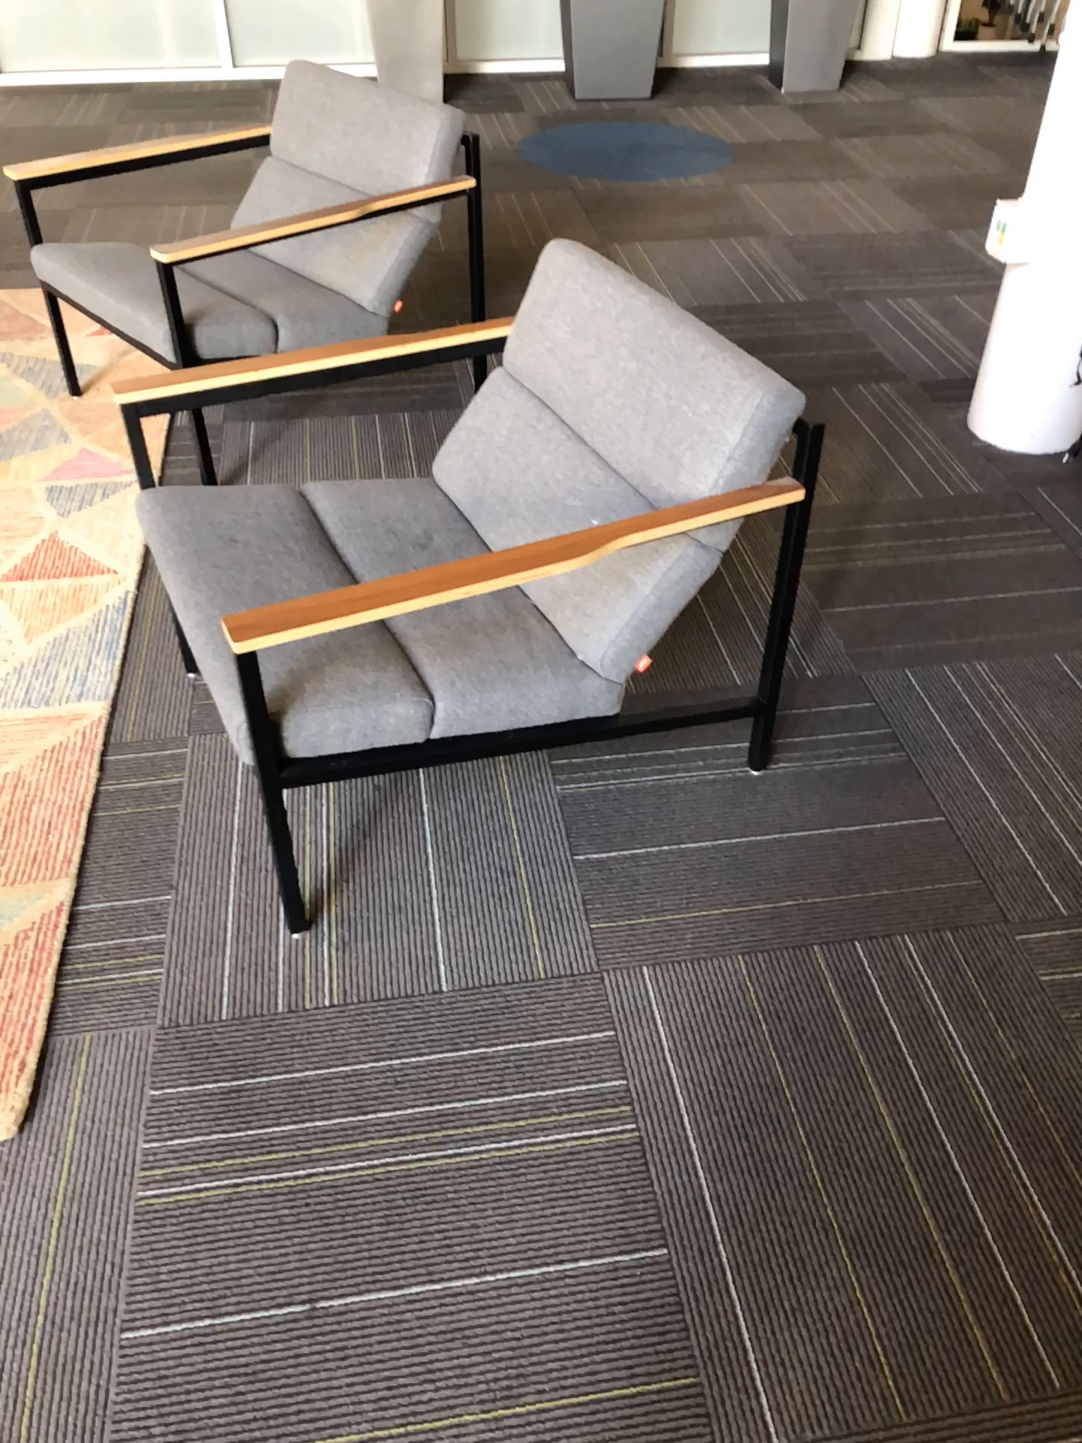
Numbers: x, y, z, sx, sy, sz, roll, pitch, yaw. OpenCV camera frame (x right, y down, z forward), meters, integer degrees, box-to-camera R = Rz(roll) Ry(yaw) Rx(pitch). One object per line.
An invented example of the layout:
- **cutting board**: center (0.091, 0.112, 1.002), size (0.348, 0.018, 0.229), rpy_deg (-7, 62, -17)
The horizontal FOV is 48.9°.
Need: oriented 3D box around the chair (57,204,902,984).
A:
- **chair**: center (-0.116, -0.269, 1.869), size (0.921, 0.696, 0.793), rpy_deg (-20, 43, -20)
